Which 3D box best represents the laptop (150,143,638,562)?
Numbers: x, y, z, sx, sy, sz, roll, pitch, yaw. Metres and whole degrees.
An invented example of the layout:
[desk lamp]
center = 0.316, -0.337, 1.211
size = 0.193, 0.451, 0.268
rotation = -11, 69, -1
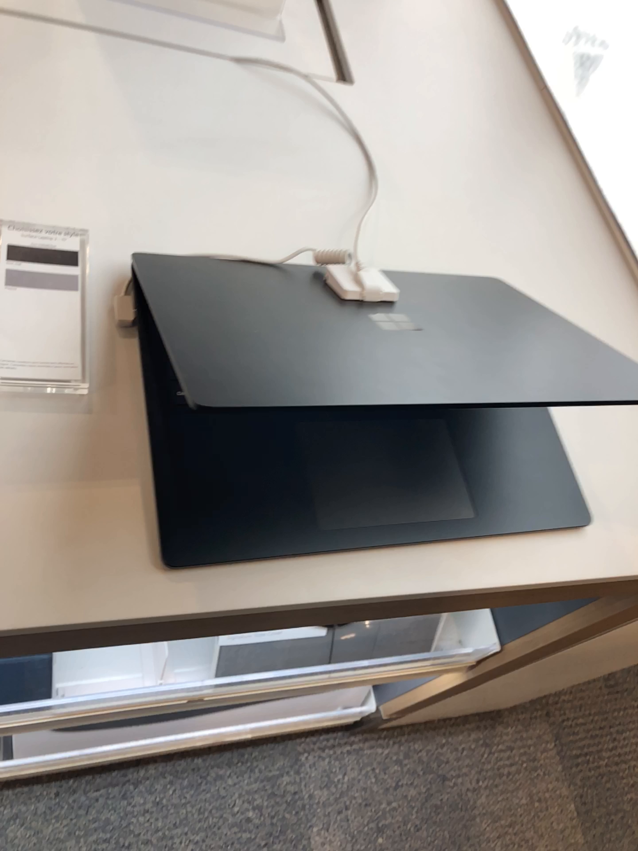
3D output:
[laptop]
center = 0.052, -0.044, 0.431
size = 0.284, 0.086, 0.191
rotation = -2, 68, -24
